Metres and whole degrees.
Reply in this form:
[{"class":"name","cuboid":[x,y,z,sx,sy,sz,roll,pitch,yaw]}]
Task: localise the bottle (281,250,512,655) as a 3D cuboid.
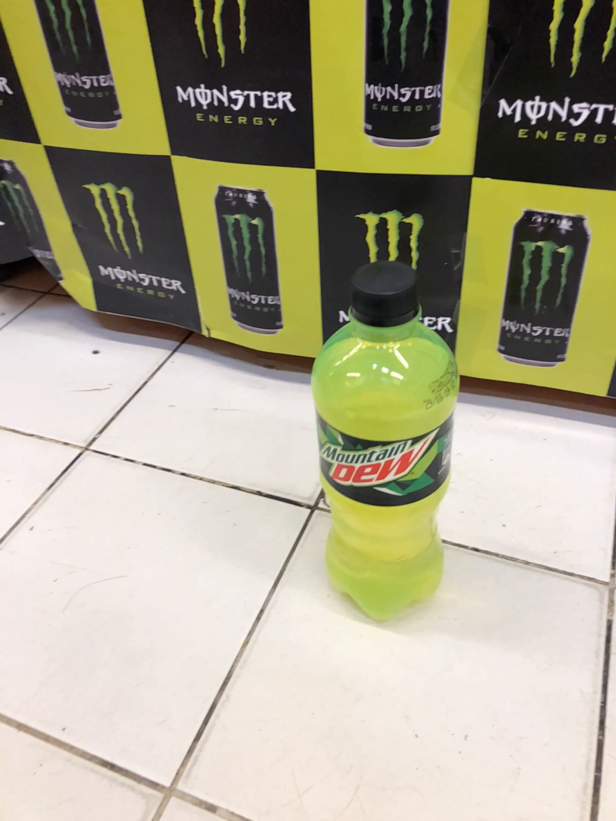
[{"class":"bottle","cuboid":[0.047,0.029,0.348,0.080,0.199,0.070,11,42,19]}]
